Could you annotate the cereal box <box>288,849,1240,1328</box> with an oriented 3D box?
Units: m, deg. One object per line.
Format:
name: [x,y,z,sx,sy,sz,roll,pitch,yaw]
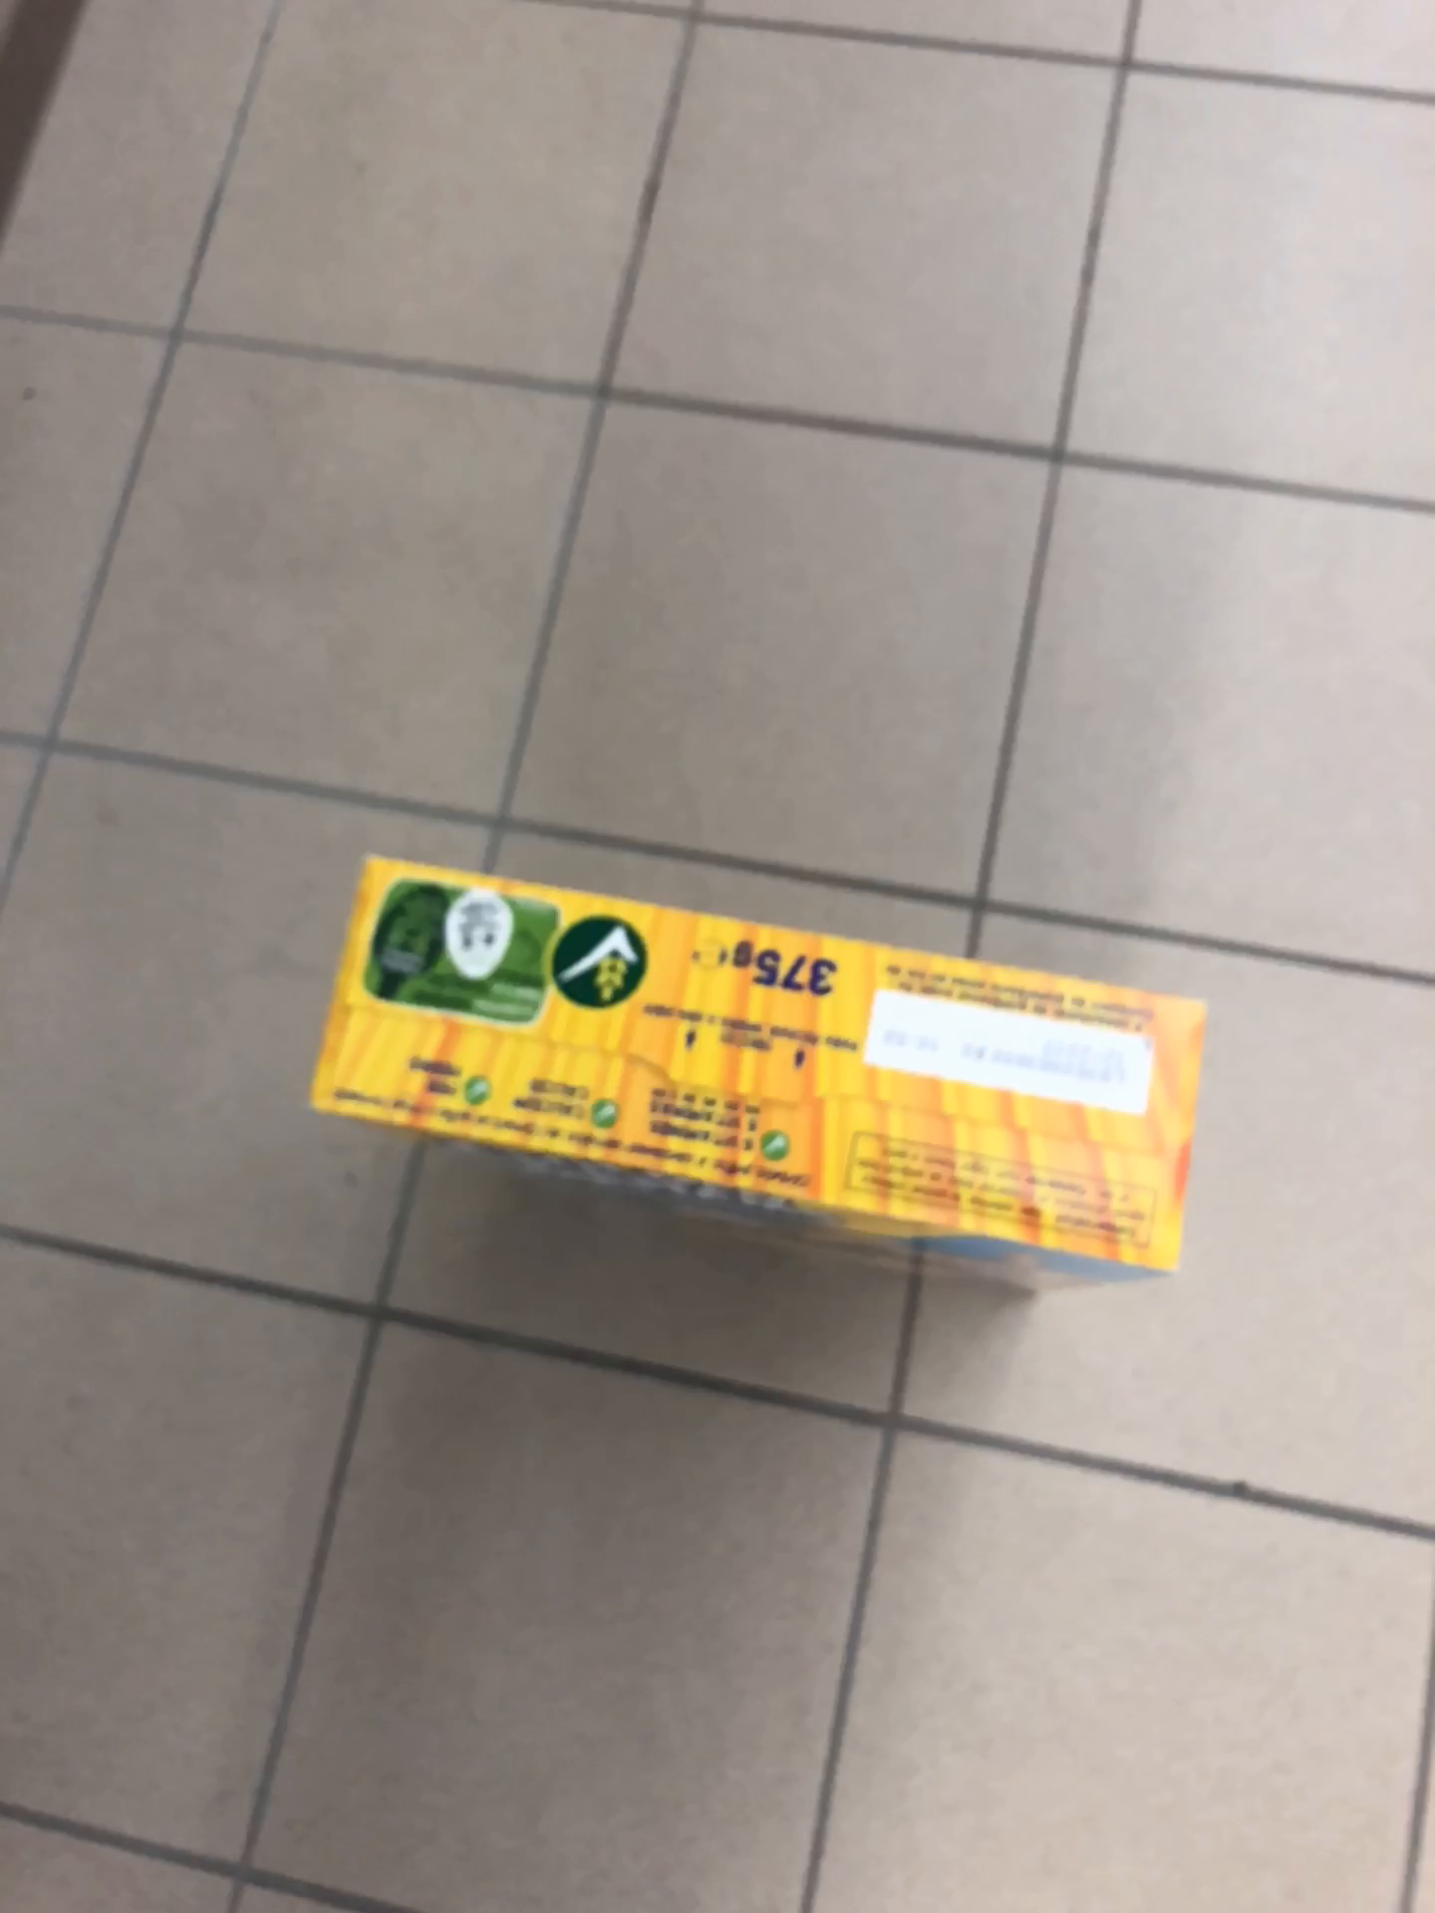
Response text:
cereal box: [0.019,0.056,0.483,0.200,0.270,0.070,9,77,6]
